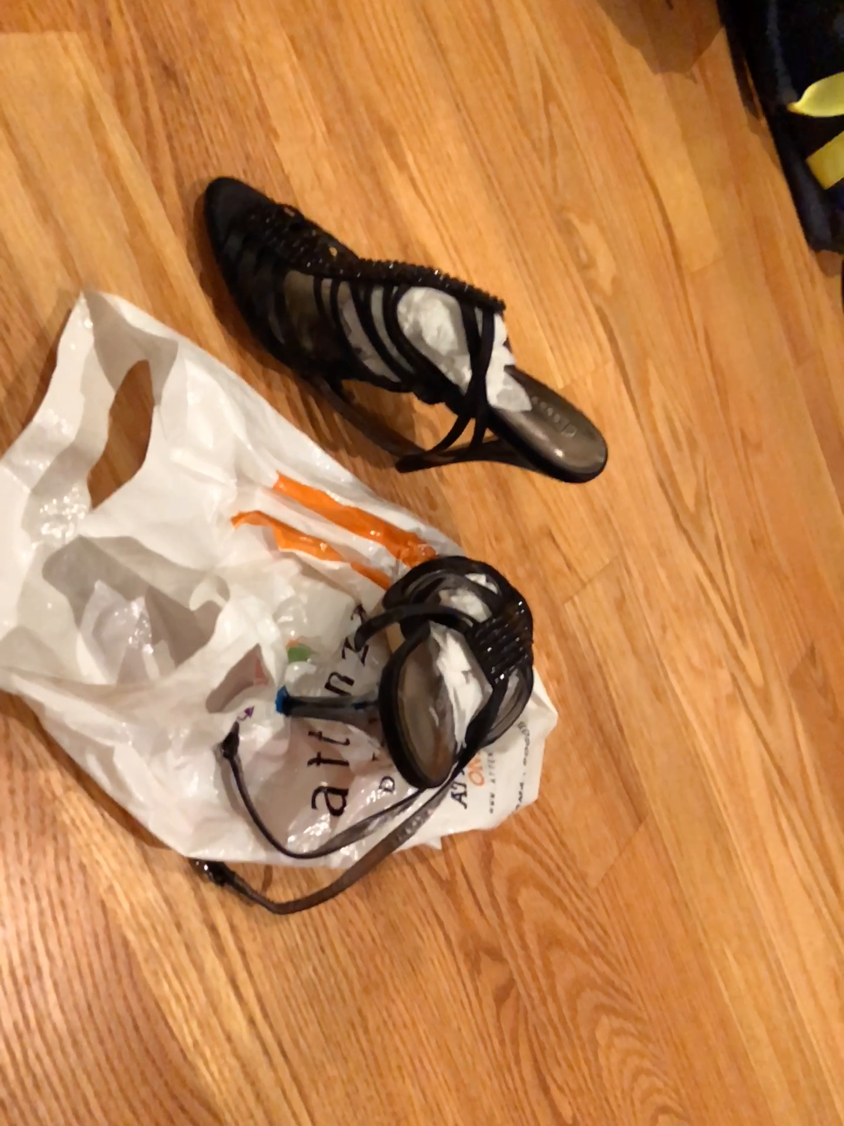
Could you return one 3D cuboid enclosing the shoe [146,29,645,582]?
[{"bbox_3d":[-0.004,-0.108,0.448,0.217,0.112,0.091,53,48,-23],"label":"shoe"}]

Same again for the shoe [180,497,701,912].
[{"bbox_3d":[0.022,0.053,0.434,0.218,0.112,0.092,-27,100,-46],"label":"shoe"}]
